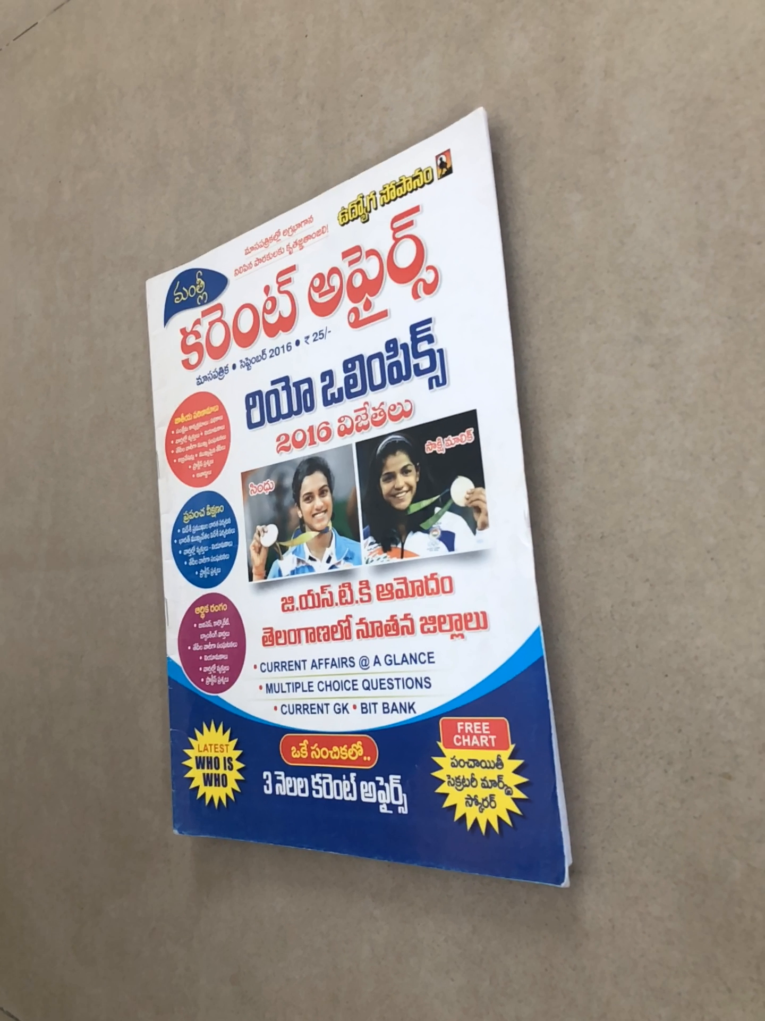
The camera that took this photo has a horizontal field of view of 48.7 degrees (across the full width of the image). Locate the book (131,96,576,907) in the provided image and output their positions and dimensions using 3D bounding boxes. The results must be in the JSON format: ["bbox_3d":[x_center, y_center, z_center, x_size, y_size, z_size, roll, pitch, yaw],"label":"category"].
[{"bbox_3d":[-0.031,0.004,0.335,0.201,0.010,0.260,-10,82,39],"label":"book"}]
